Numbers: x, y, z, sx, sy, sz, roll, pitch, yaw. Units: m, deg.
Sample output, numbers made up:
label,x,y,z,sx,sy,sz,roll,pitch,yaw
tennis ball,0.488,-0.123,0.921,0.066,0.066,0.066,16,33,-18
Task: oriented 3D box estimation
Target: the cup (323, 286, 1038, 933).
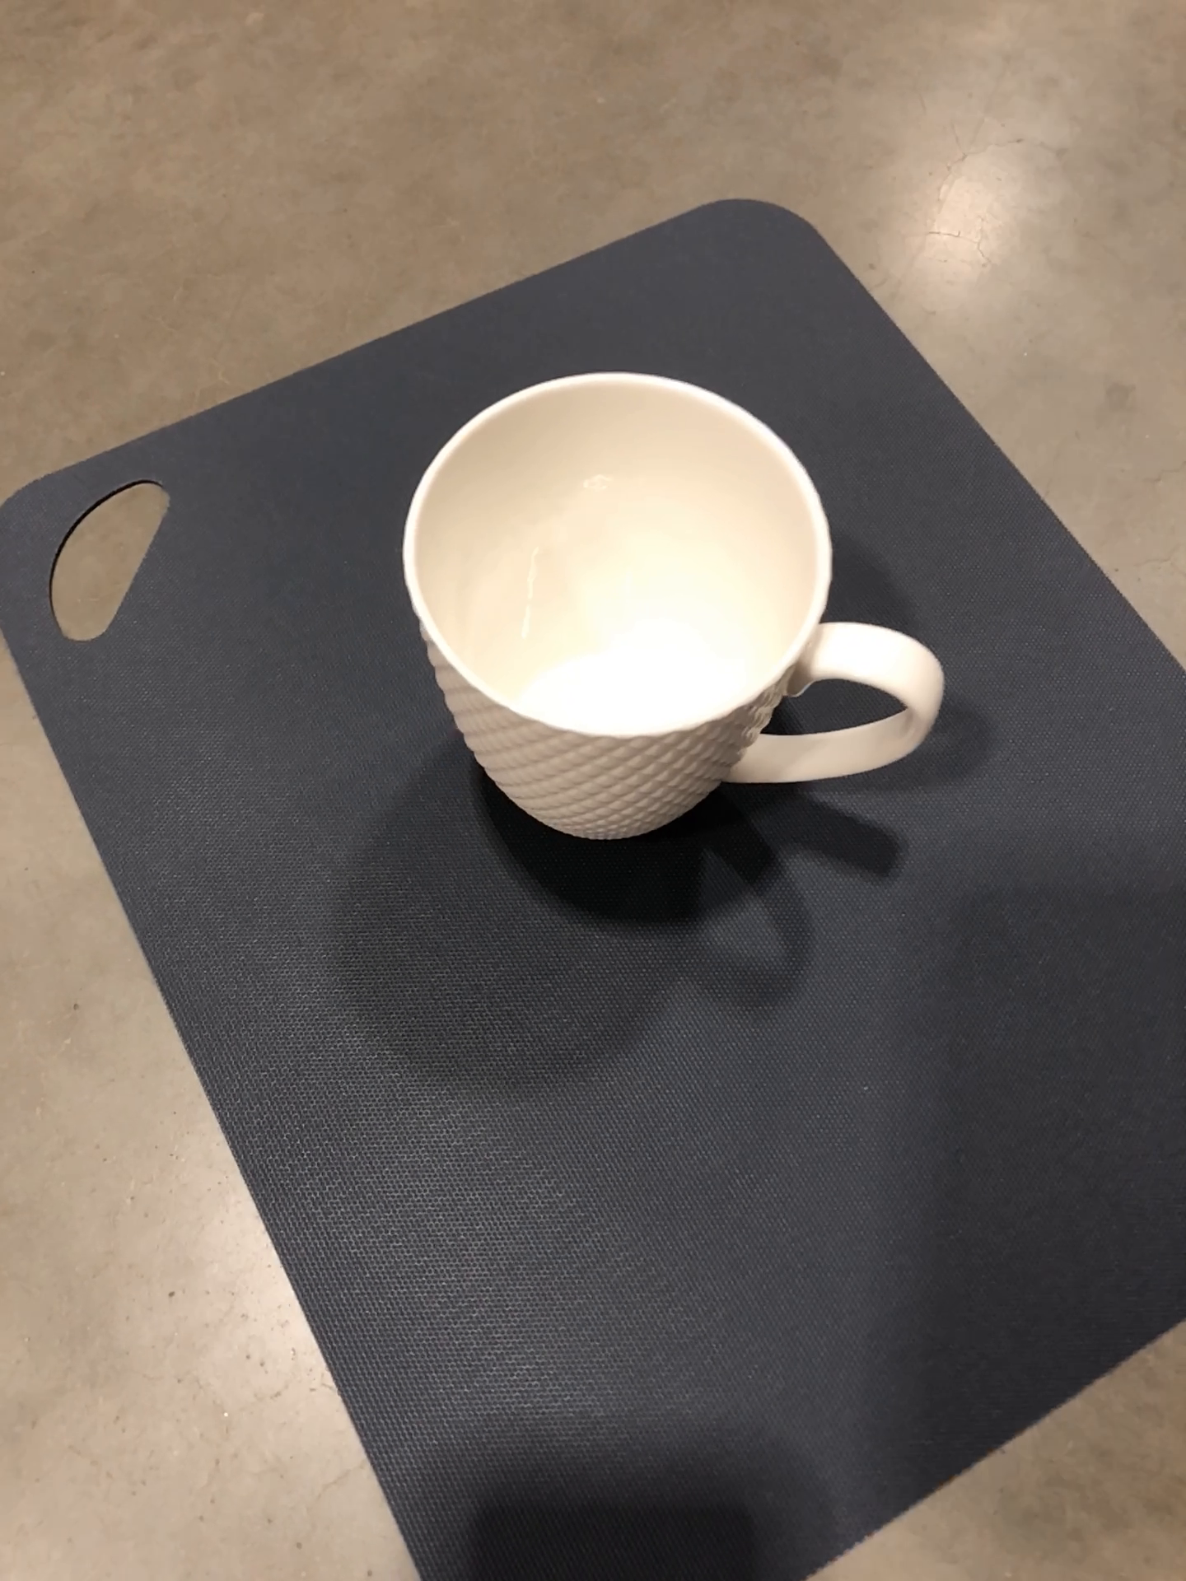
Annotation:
label,x,y,z,sx,sy,sz,roll,pitch,yaw
cup,0.021,-0.040,0.318,0.130,0.090,0.090,17,67,7
